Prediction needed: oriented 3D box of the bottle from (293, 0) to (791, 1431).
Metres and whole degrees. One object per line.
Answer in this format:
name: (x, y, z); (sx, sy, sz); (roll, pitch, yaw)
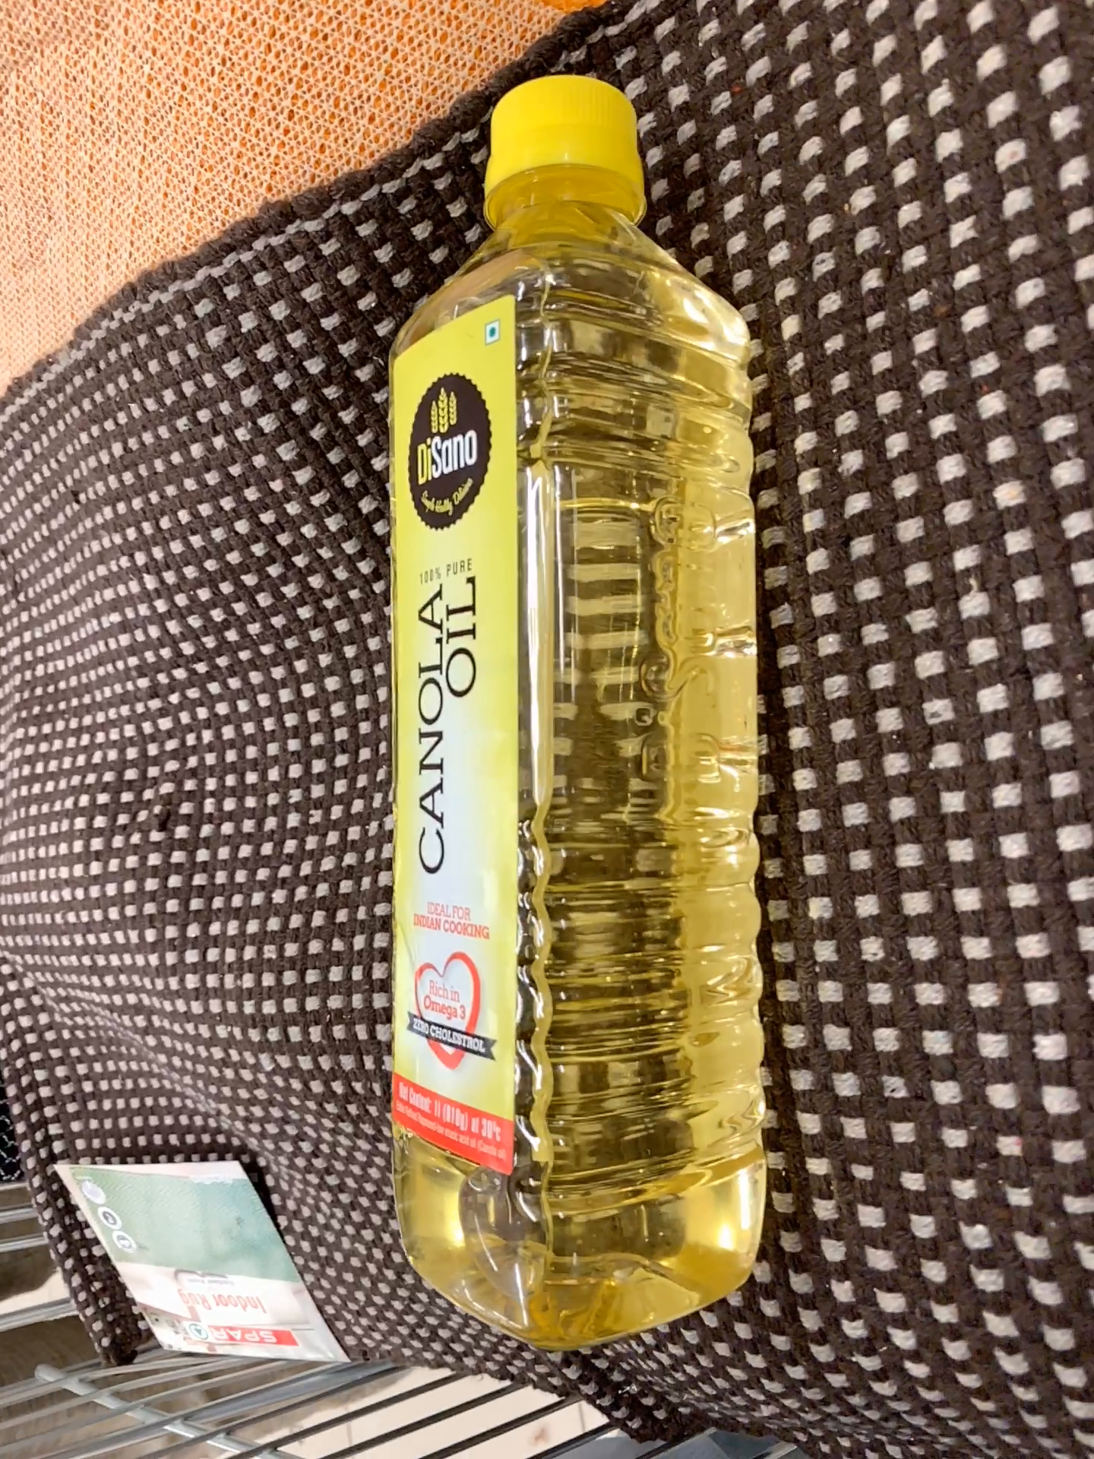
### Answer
bottle: (-0.002, -0.023, 0.212); (0.070, 0.060, 0.250); (-2, 86, 53)
